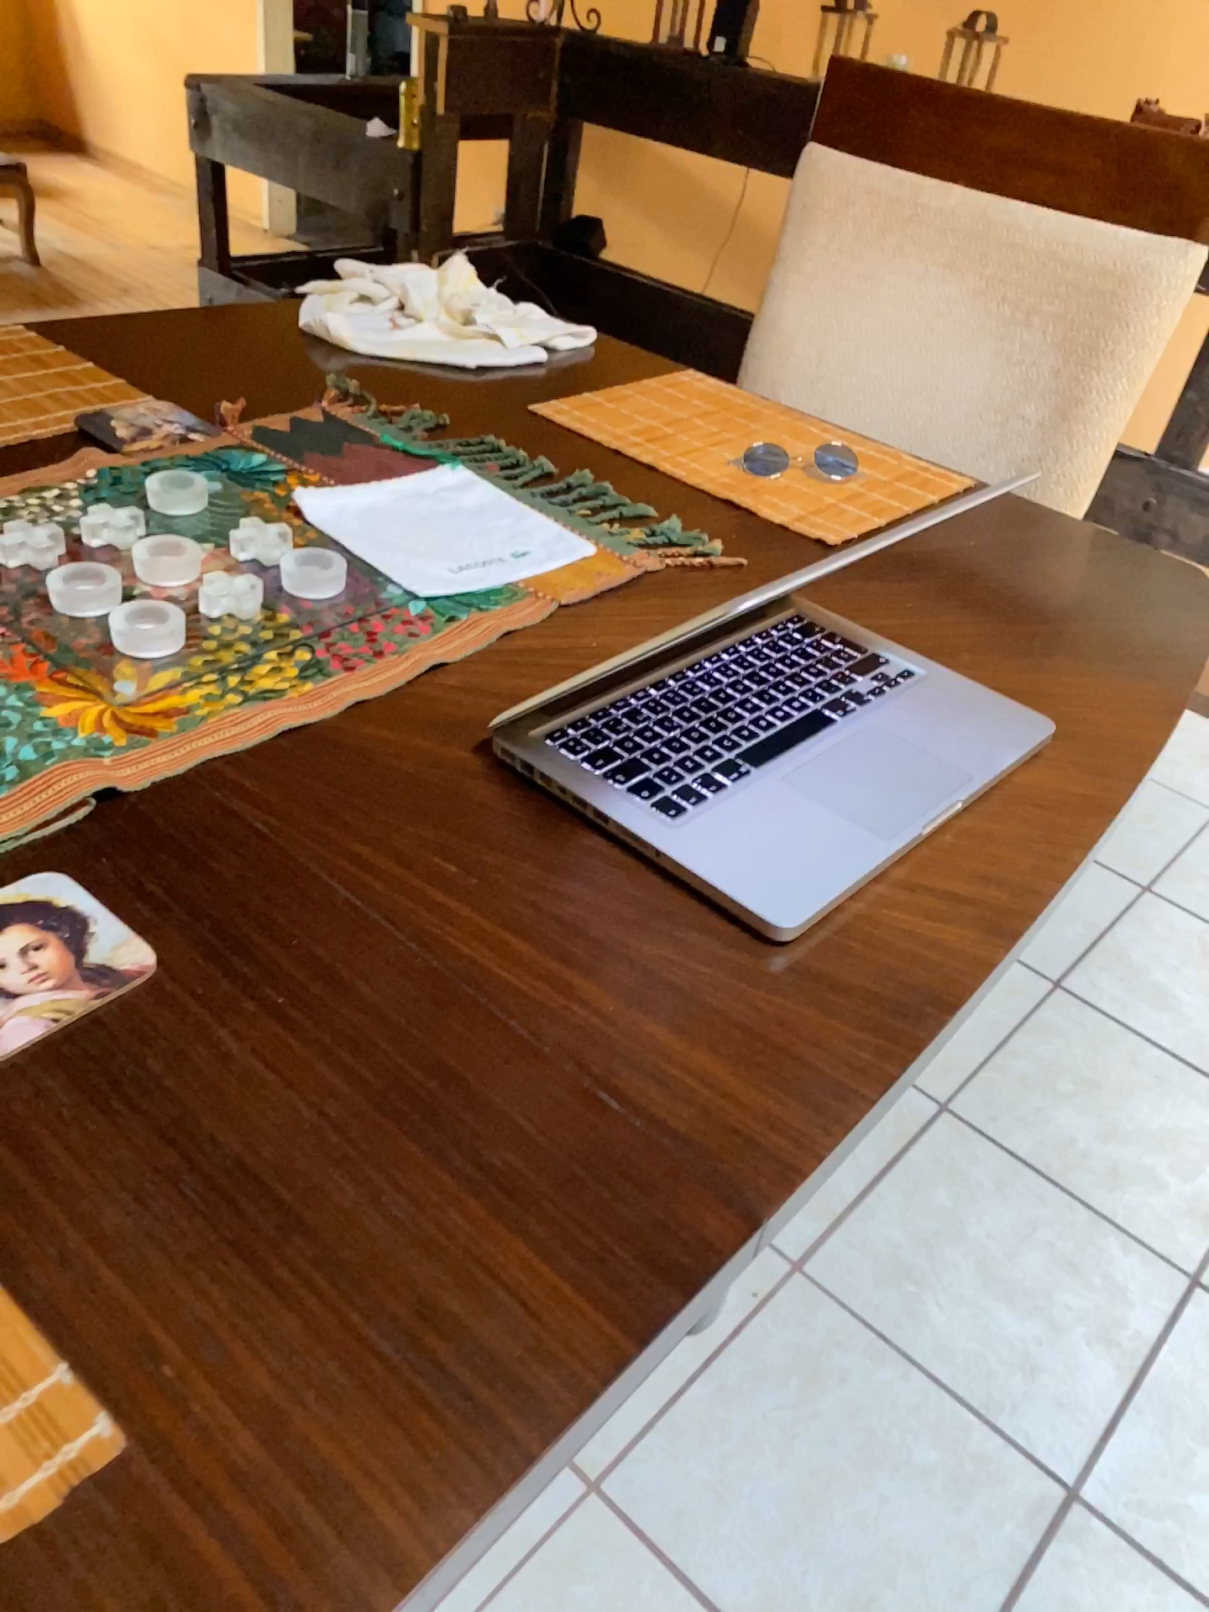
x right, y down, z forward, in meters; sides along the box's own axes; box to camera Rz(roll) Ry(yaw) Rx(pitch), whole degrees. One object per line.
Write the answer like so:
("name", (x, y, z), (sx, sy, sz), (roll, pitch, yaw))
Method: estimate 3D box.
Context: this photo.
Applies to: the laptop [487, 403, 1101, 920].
("laptop", (0.121, -0.113, 0.765), (0.213, 0.152, 0.323), (32, 41, 28))
